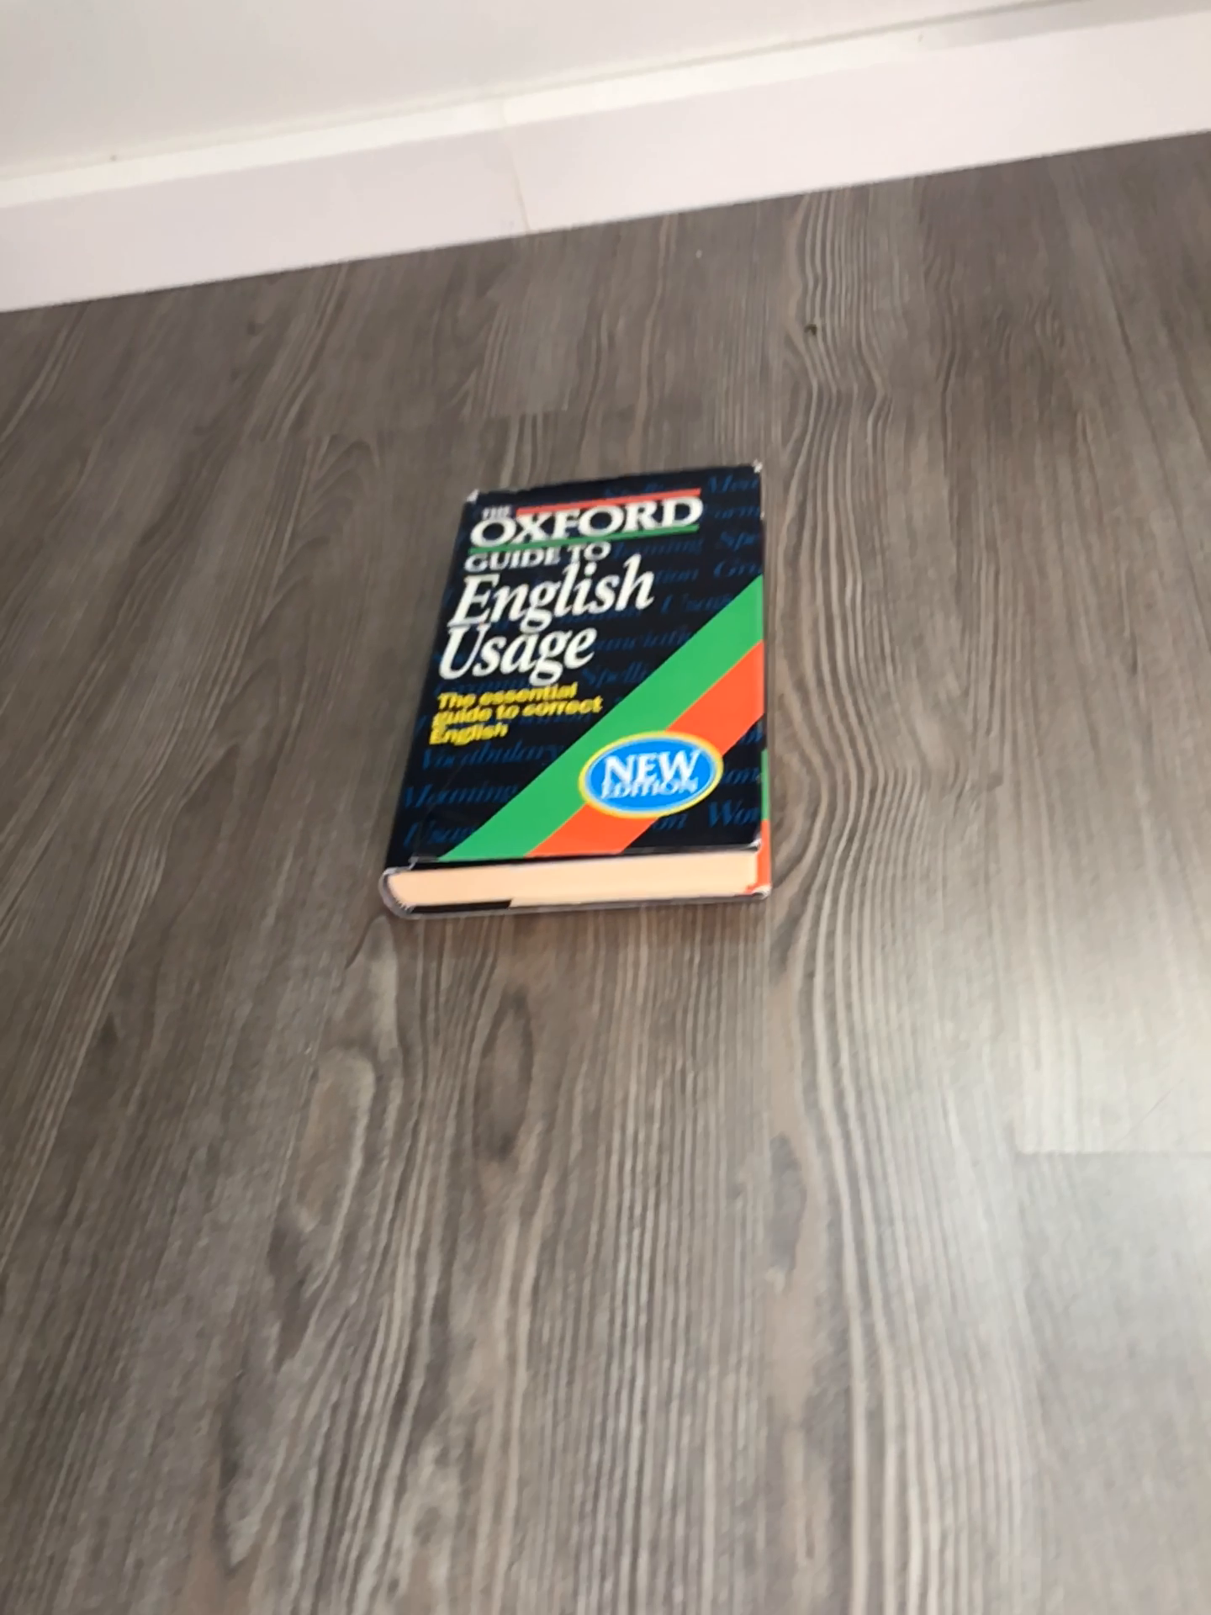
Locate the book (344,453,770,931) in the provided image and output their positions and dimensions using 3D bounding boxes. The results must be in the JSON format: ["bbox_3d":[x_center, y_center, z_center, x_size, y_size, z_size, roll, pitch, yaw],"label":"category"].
[{"bbox_3d":[-0.009,-0.057,0.556,0.150,0.035,0.231,-4,49,11],"label":"book"}]
